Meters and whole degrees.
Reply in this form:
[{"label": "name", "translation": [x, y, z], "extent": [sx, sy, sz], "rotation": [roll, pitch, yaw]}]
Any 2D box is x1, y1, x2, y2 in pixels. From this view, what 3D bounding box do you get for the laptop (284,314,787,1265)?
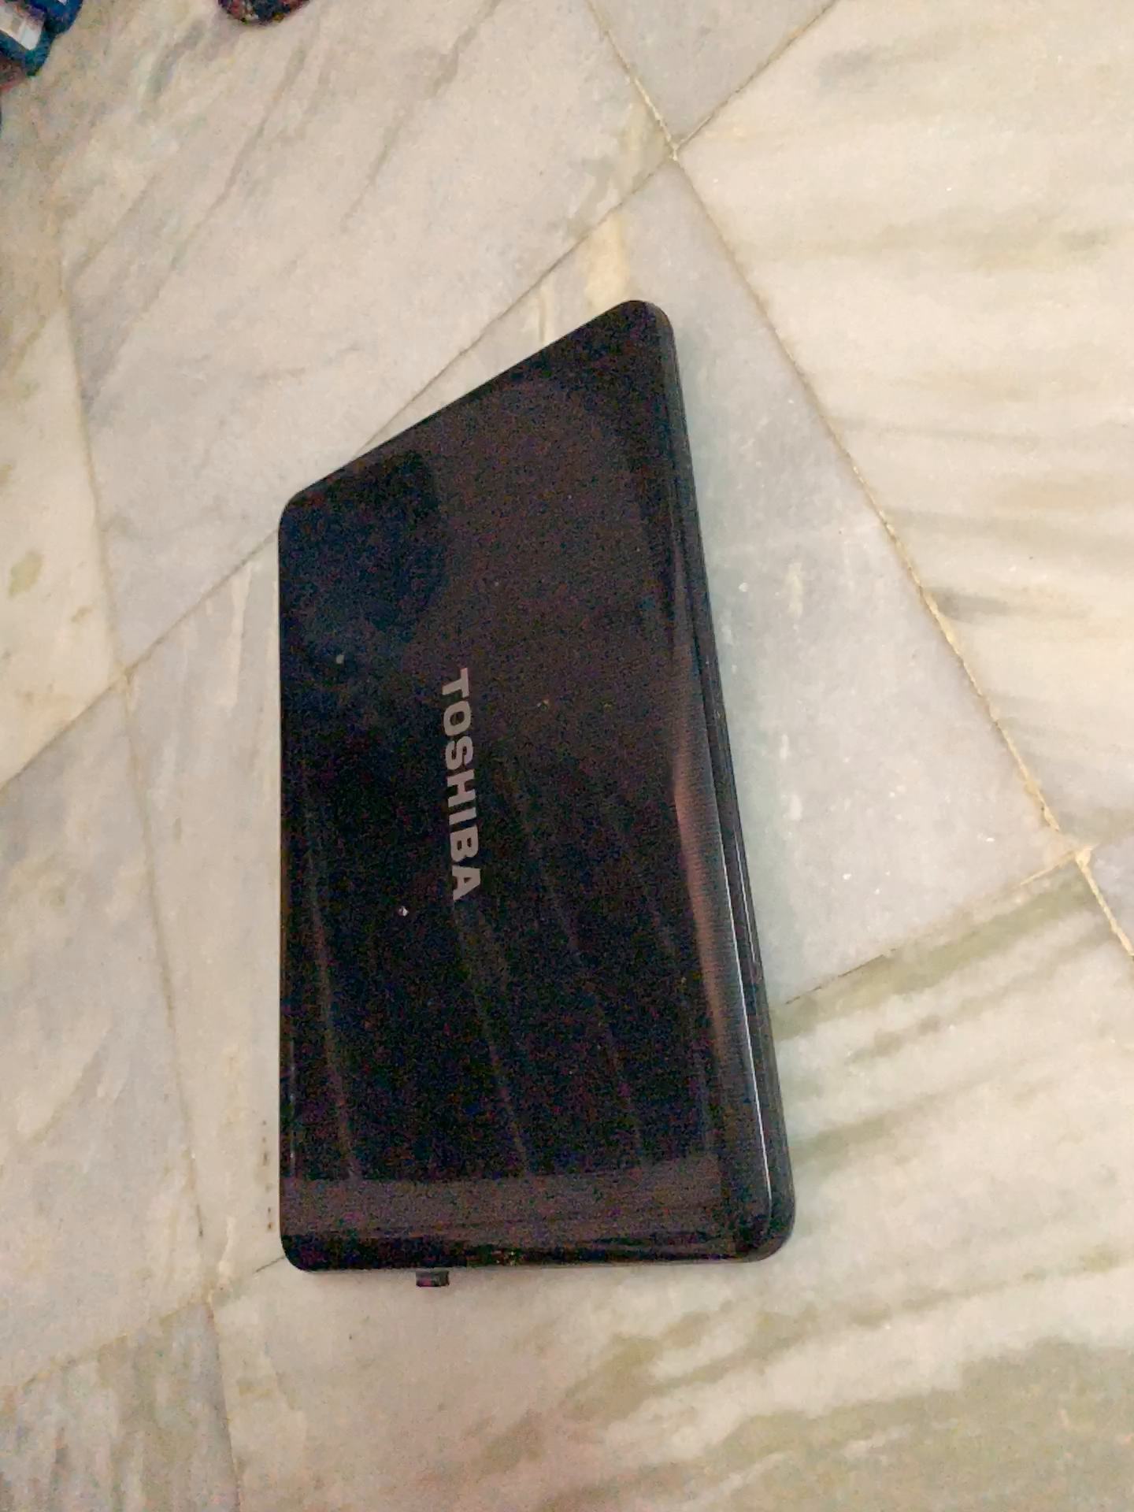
[{"label": "laptop", "translation": [-0.038, 0.015, 0.482], "extent": [0.223, 0.003, 0.355], "rotation": [-18, 67, 32]}]
